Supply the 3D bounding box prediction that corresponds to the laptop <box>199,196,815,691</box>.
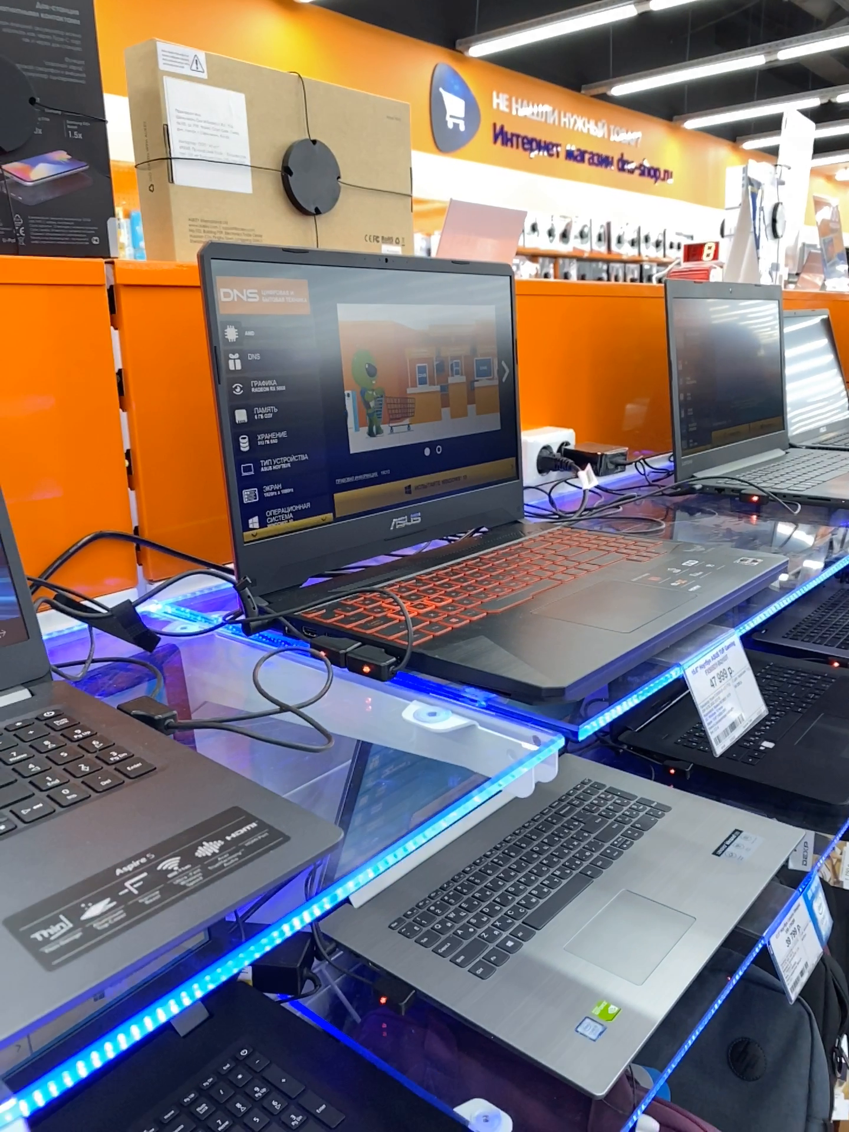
[{"bbox_3d":[0.078,-0.110,0.658,0.286,0.248,0.360,11,18,39],"label":"laptop"}]
